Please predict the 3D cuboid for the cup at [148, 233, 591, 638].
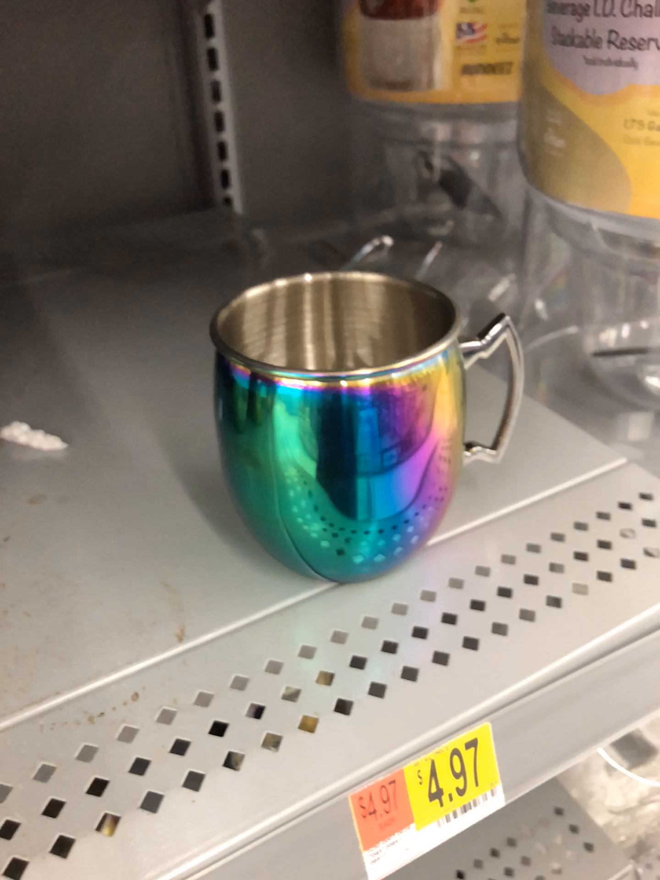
[{"bbox_3d":[0.012,-0.012,0.310,0.133,0.097,0.104,-18,38,-22],"label":"cup"}]
